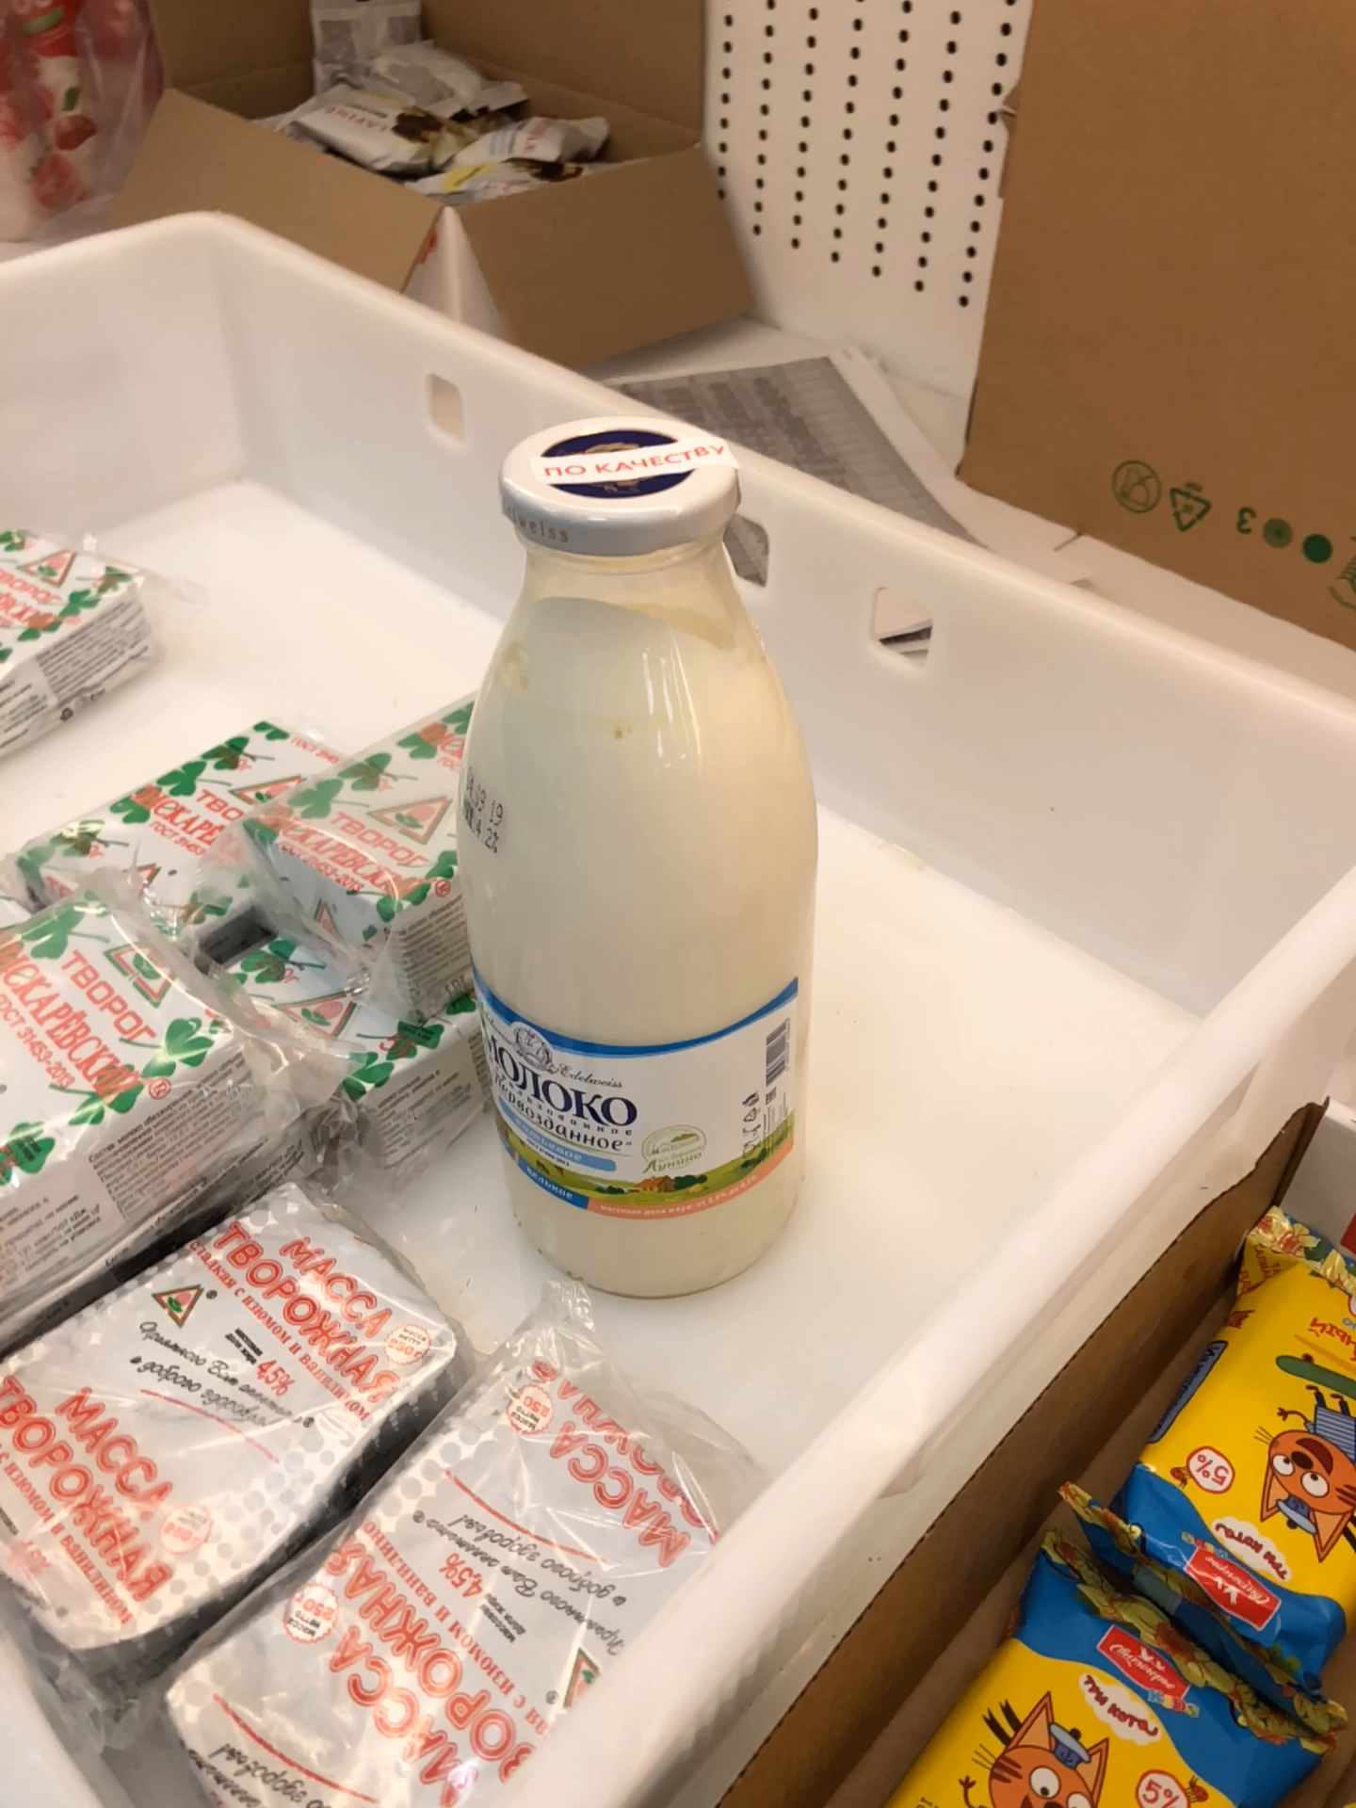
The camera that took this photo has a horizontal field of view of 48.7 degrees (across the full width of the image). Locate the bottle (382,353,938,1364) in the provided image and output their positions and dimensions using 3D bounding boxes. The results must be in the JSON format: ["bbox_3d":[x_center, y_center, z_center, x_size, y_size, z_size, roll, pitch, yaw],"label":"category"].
[{"bbox_3d":[-0.005,0.002,0.346,0.071,0.220,0.073,1,42,-1],"label":"bottle"}]
